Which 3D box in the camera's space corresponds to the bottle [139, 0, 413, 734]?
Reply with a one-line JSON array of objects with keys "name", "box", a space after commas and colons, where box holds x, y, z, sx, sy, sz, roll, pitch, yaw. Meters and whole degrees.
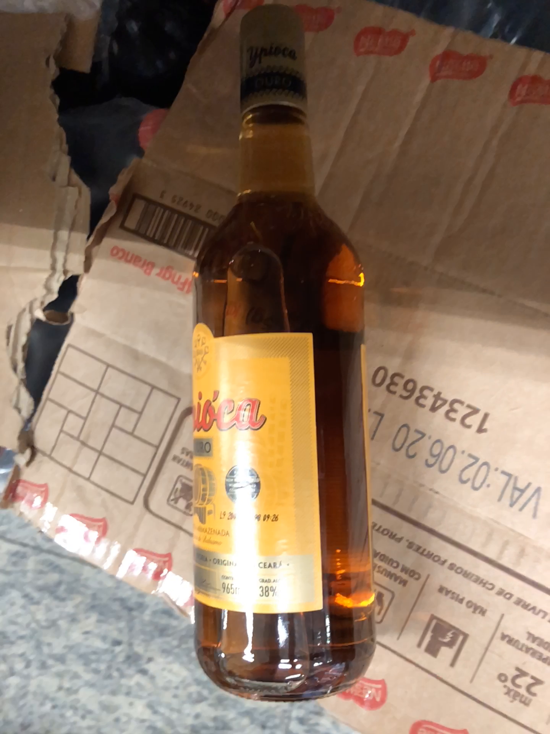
[{"name": "bottle", "box": [-0.006, -0.025, 0.268, 0.090, 0.080, 0.310, 1, 85, -24]}]
